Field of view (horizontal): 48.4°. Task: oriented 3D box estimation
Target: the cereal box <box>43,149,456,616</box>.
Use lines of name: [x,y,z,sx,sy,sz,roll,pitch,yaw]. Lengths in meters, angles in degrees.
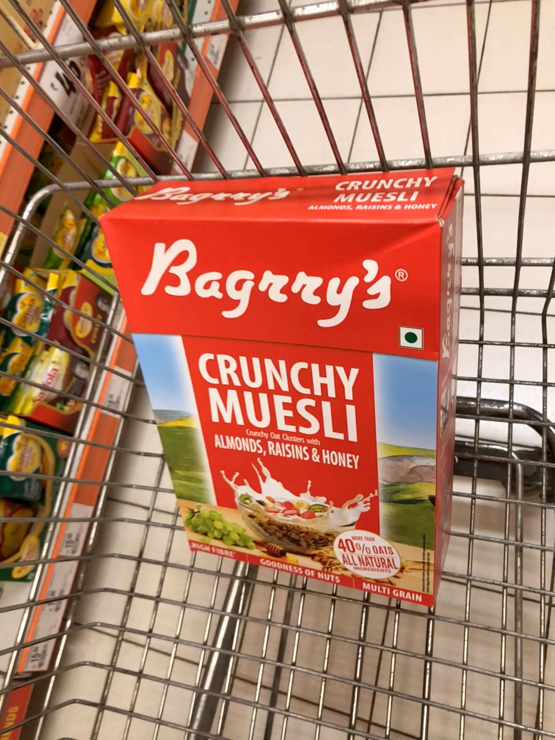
cereal box: [0.003,0.021,0.374,0.190,0.279,0.060,6,38,21]
